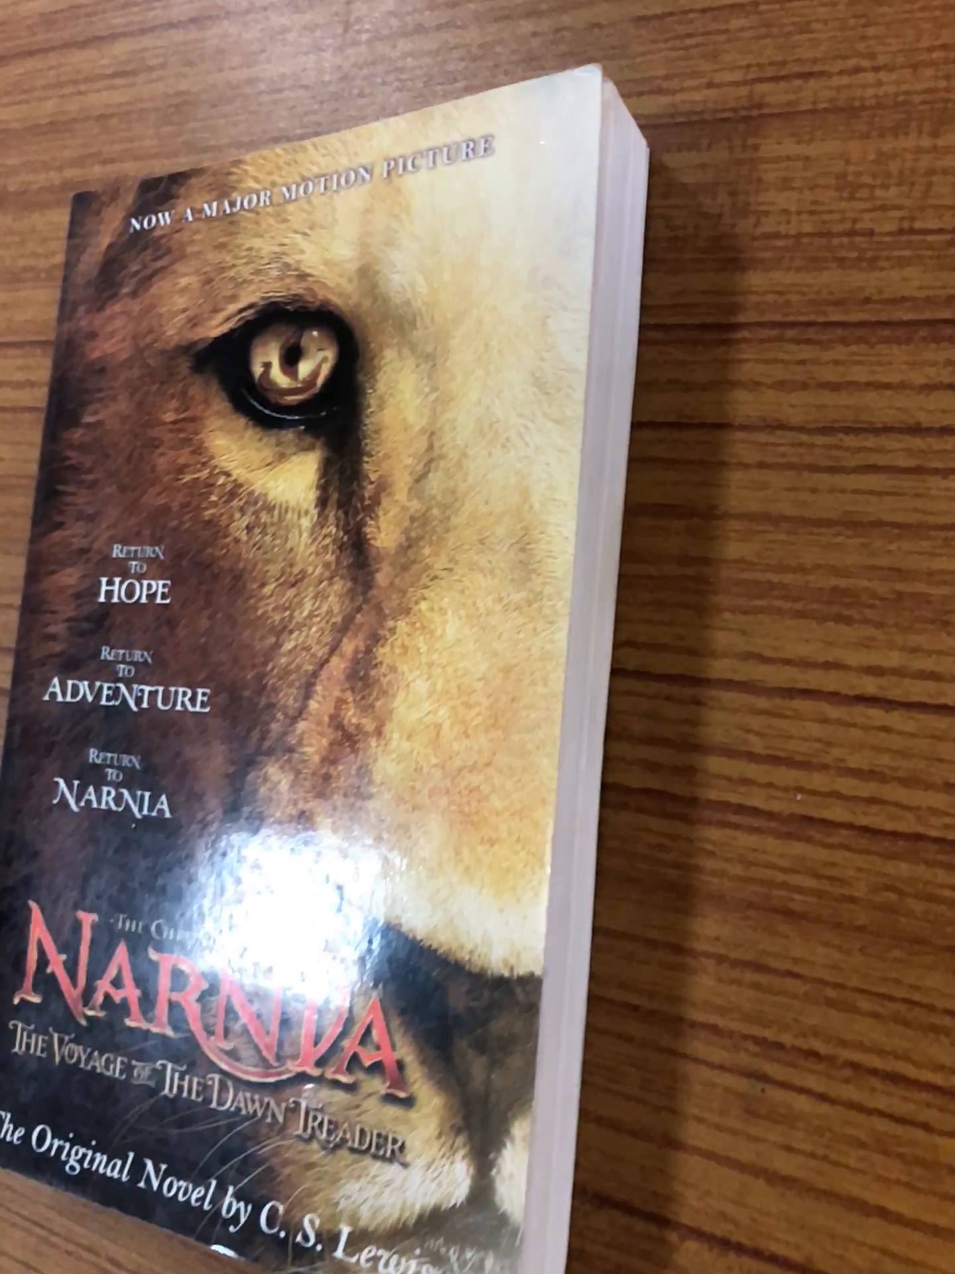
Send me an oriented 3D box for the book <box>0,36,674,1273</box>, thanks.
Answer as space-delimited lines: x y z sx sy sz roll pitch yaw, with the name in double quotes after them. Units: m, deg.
-0.035 0.005 0.185 0.120 0.030 0.180 2 85 27 "book"
